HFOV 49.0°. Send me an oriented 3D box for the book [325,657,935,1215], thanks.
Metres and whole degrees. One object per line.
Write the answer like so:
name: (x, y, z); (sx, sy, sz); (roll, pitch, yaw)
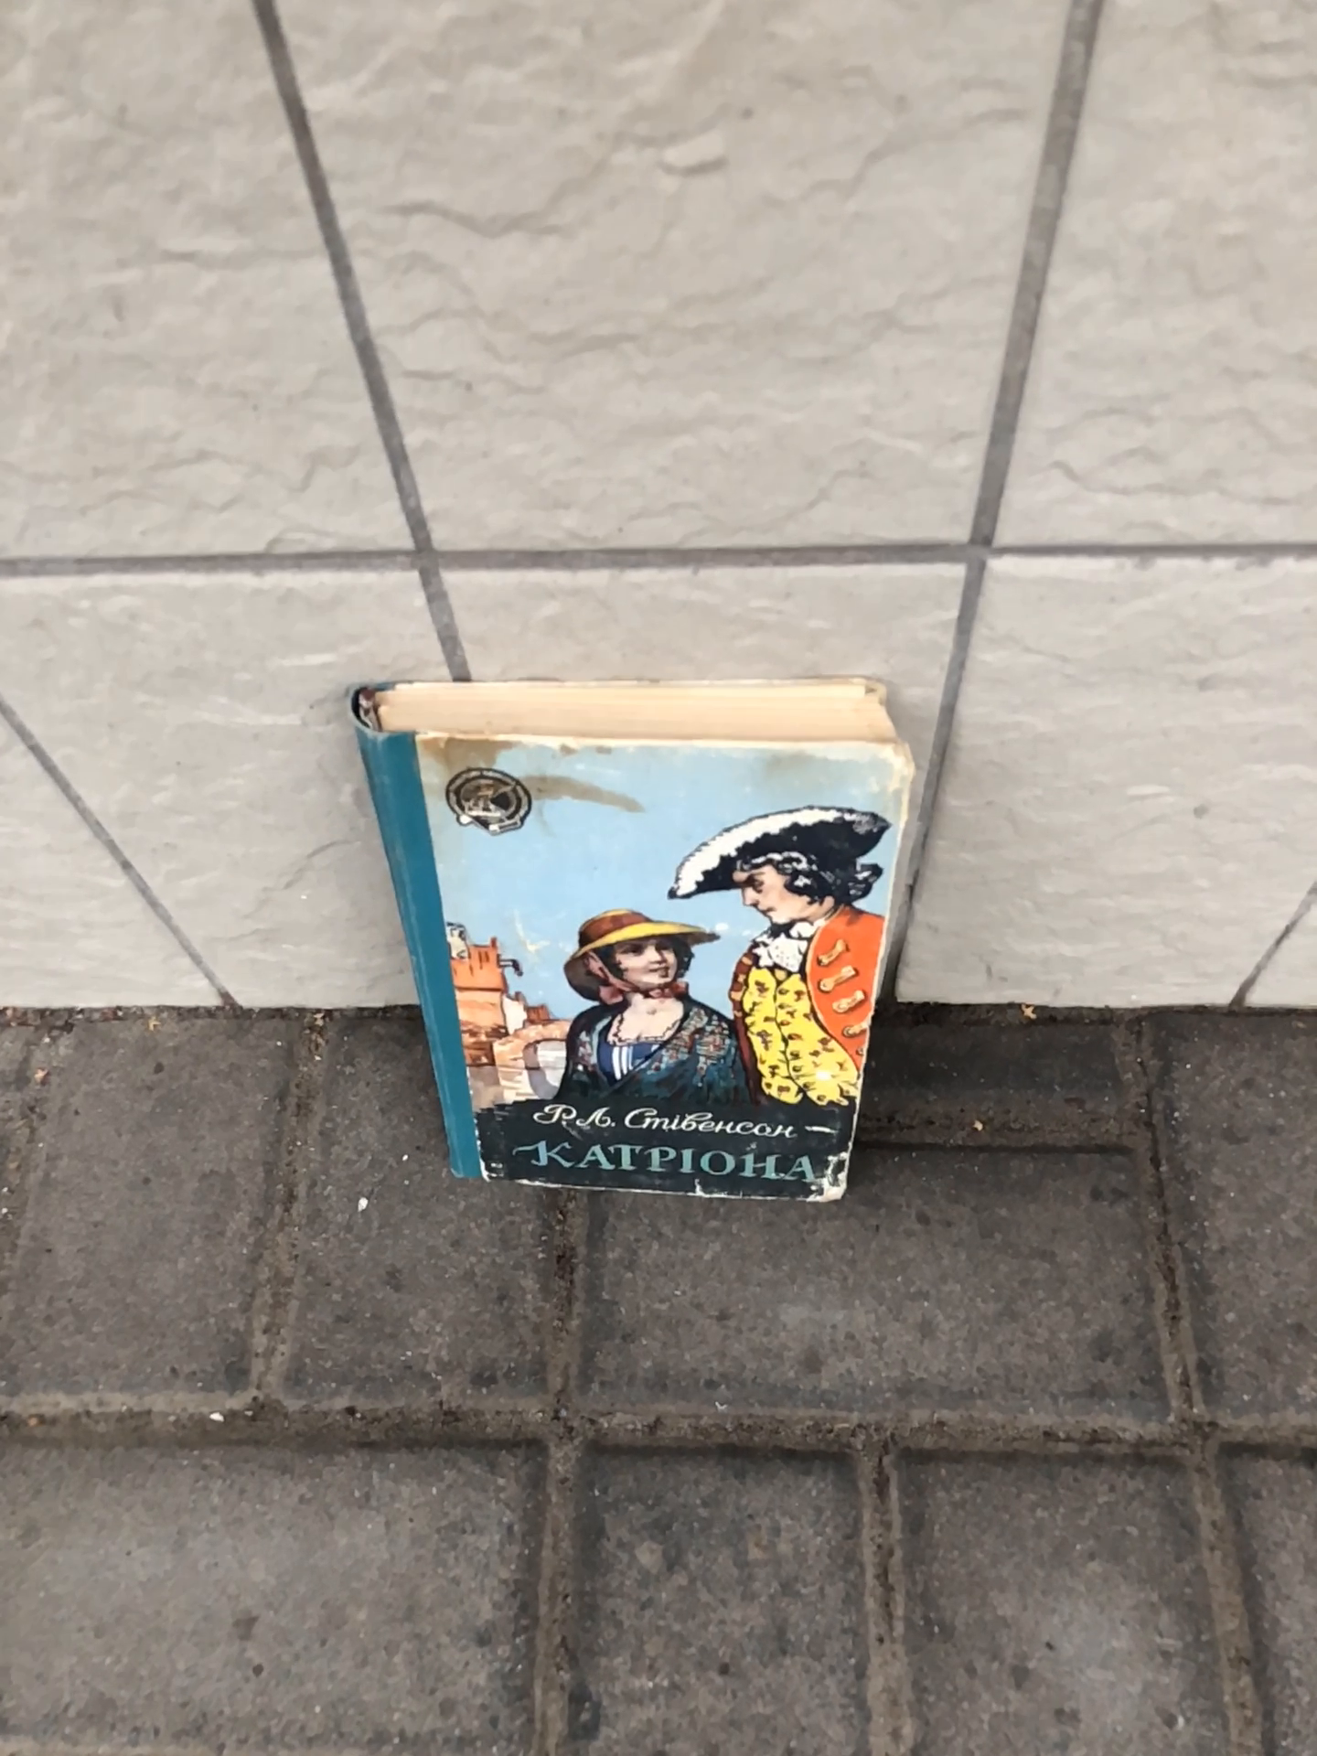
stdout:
book: (-0.003, 0.026, 0.396); (0.134, 0.190, 0.030); (3, 48, 5)
